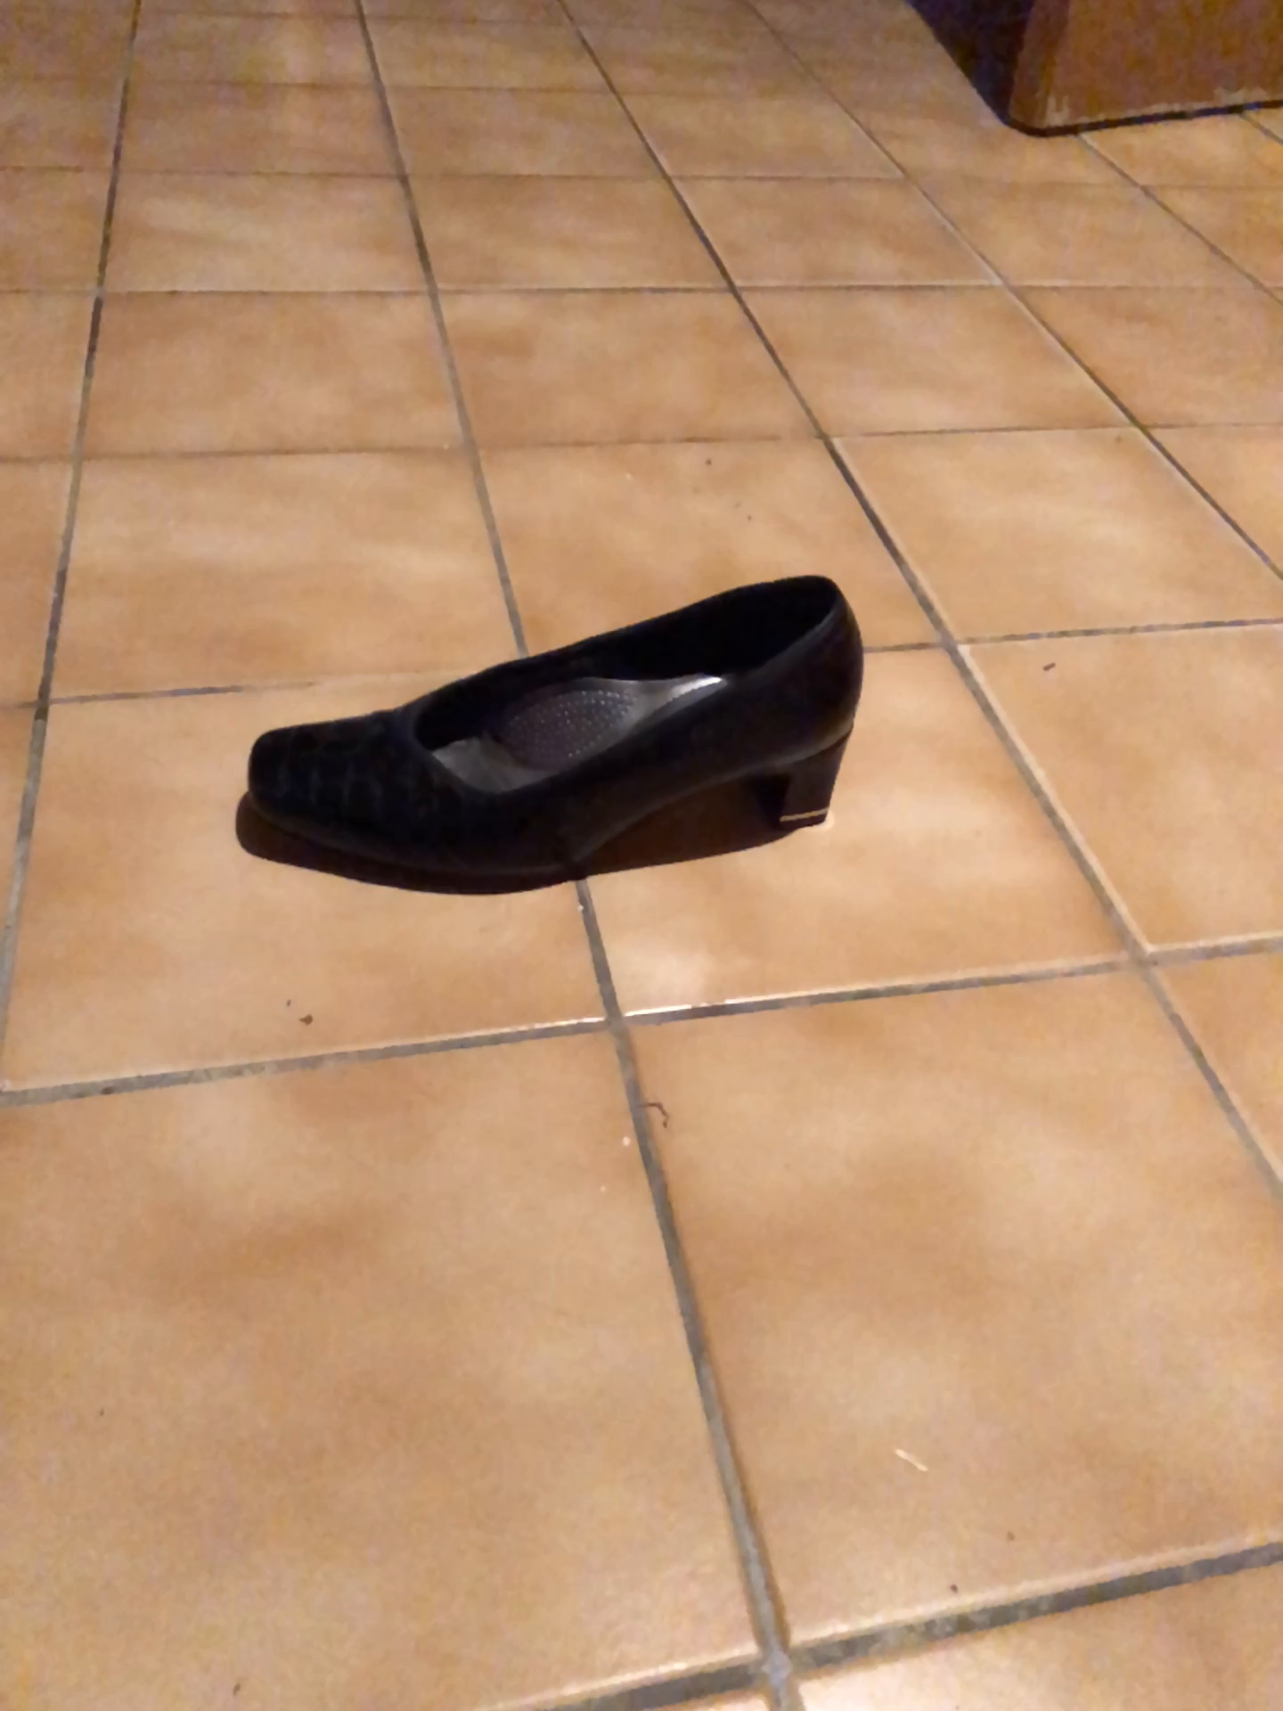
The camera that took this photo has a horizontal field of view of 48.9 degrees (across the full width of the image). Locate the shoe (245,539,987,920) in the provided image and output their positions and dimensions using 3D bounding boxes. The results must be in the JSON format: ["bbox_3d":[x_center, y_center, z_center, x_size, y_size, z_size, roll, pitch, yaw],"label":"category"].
[{"bbox_3d":[-0.014,-0.051,0.534,0.250,0.089,0.100,-4,44,-10],"label":"shoe"}]
